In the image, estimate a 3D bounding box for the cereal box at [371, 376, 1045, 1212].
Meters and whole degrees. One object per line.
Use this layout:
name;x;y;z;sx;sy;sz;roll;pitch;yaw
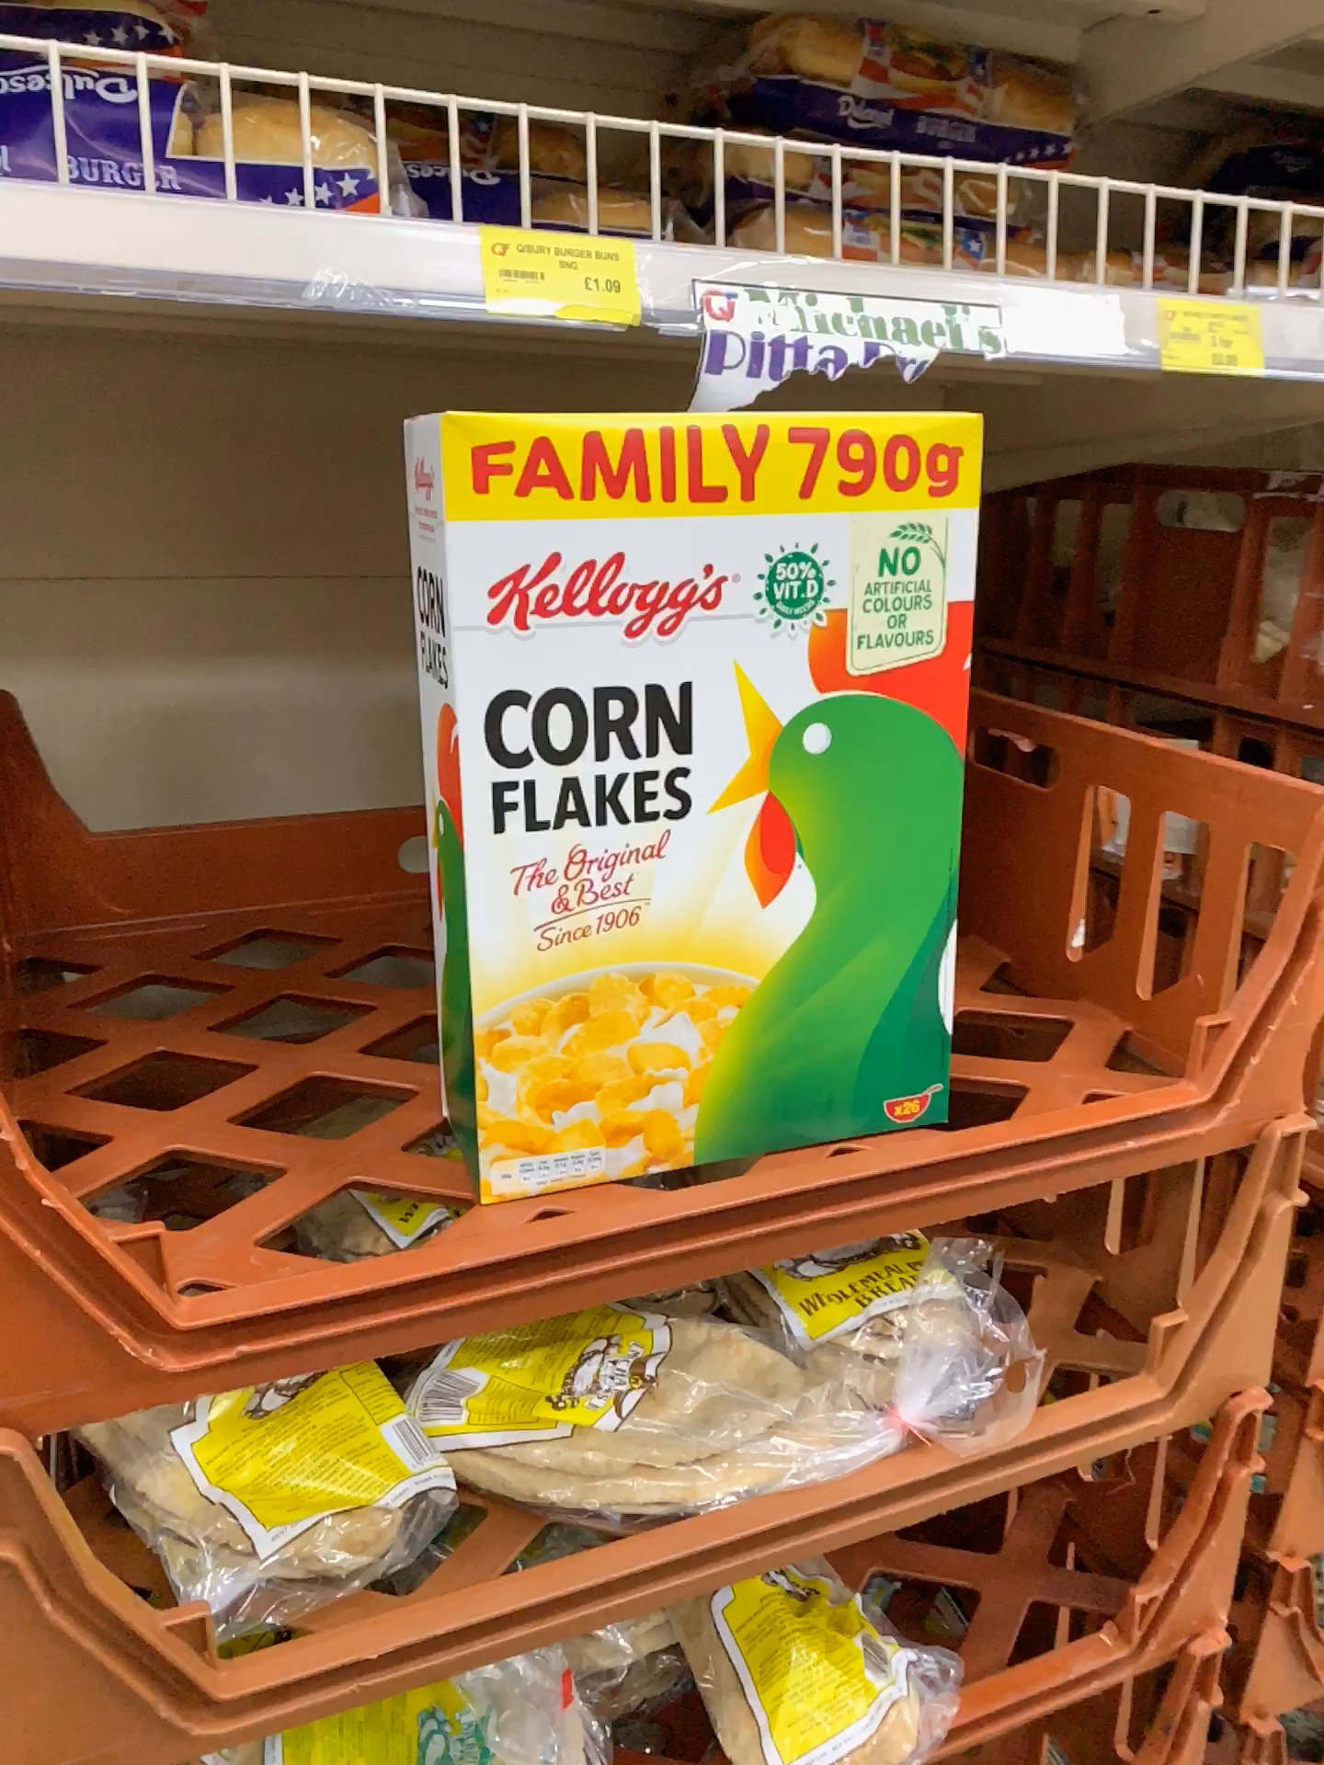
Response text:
cereal box;0.018;-0.046;0.620;0.270;0.338;0.090;-6;18;-20
